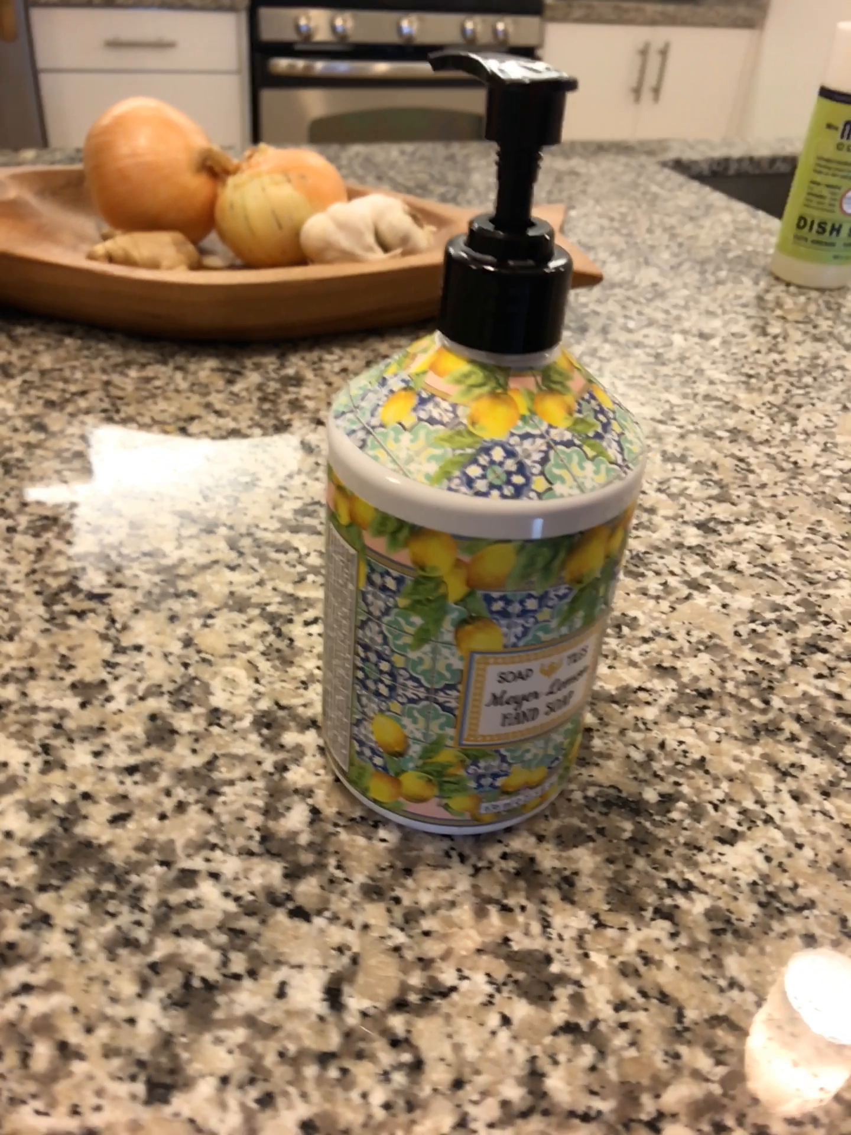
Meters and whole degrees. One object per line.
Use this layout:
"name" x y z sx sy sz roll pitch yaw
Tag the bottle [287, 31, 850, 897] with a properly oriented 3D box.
"bottle" 0.021 -0.023 0.251 0.090 0.198 0.090 4 36 -3
